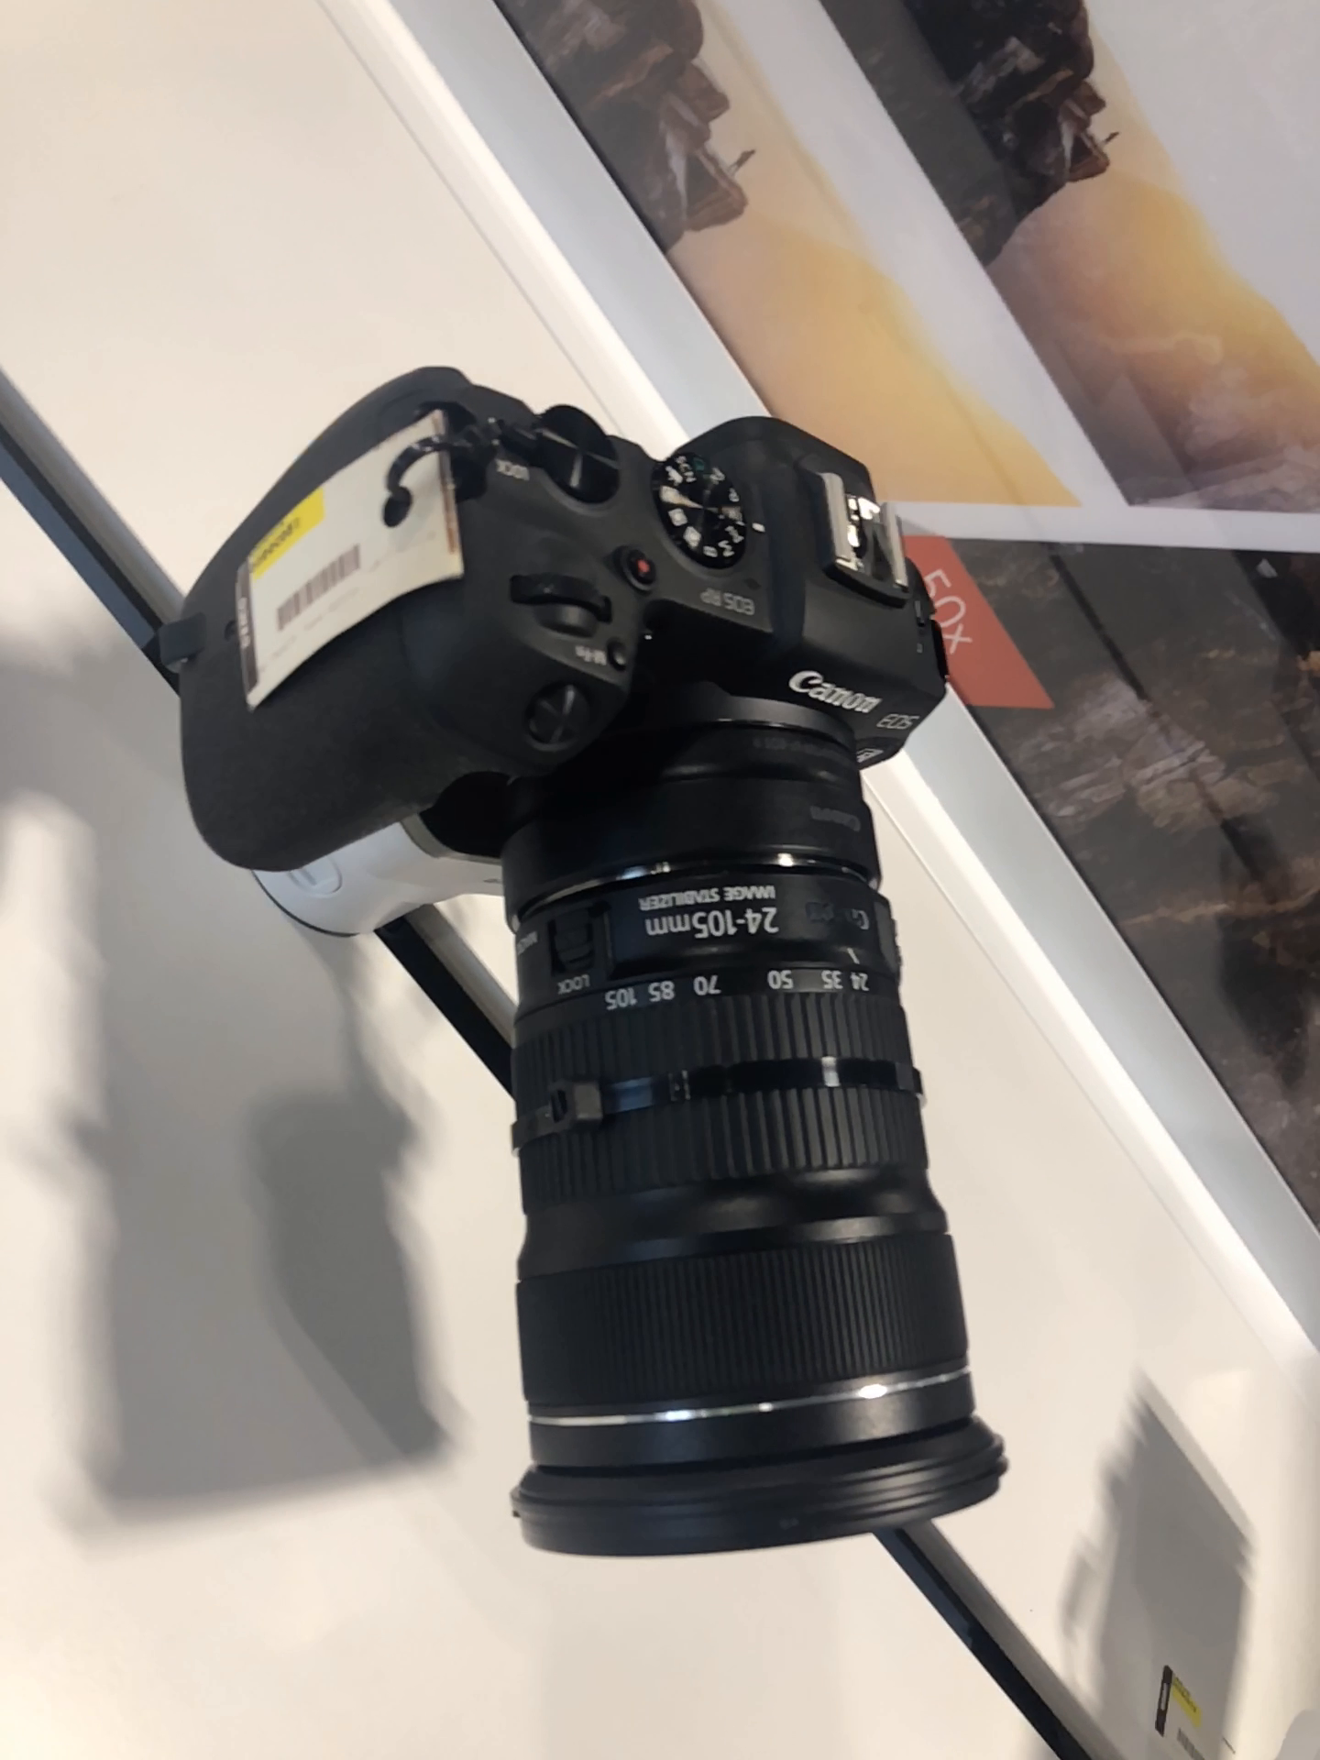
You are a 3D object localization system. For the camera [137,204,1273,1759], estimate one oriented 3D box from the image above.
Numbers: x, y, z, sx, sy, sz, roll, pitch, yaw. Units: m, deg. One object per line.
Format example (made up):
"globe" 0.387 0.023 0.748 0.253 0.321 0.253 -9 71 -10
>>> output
"camera" 0.006 0.021 0.243 0.136 0.090 0.190 8 66 -47
